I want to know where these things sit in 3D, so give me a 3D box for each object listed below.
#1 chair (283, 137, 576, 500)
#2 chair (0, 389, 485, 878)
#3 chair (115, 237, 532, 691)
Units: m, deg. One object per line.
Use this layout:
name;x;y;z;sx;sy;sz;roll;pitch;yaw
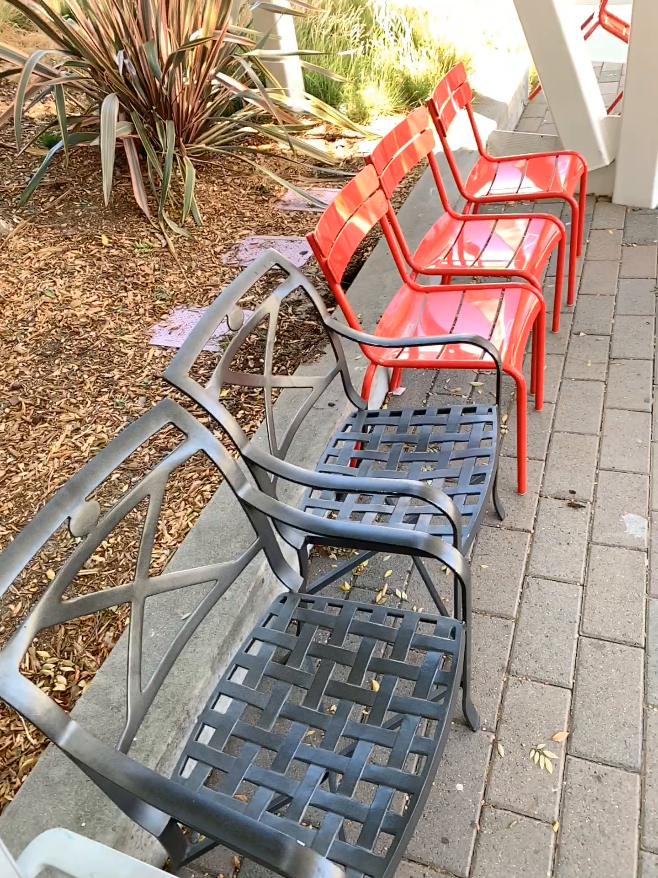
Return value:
chair;0.352;-0.368;2.041;0.641;0.815;0.623;7;43;22
chair;-0.136;0.454;1.198;0.691;0.815;0.623;7;43;22
chair;0.081;0.034;1.635;0.691;0.815;0.623;7;43;22
